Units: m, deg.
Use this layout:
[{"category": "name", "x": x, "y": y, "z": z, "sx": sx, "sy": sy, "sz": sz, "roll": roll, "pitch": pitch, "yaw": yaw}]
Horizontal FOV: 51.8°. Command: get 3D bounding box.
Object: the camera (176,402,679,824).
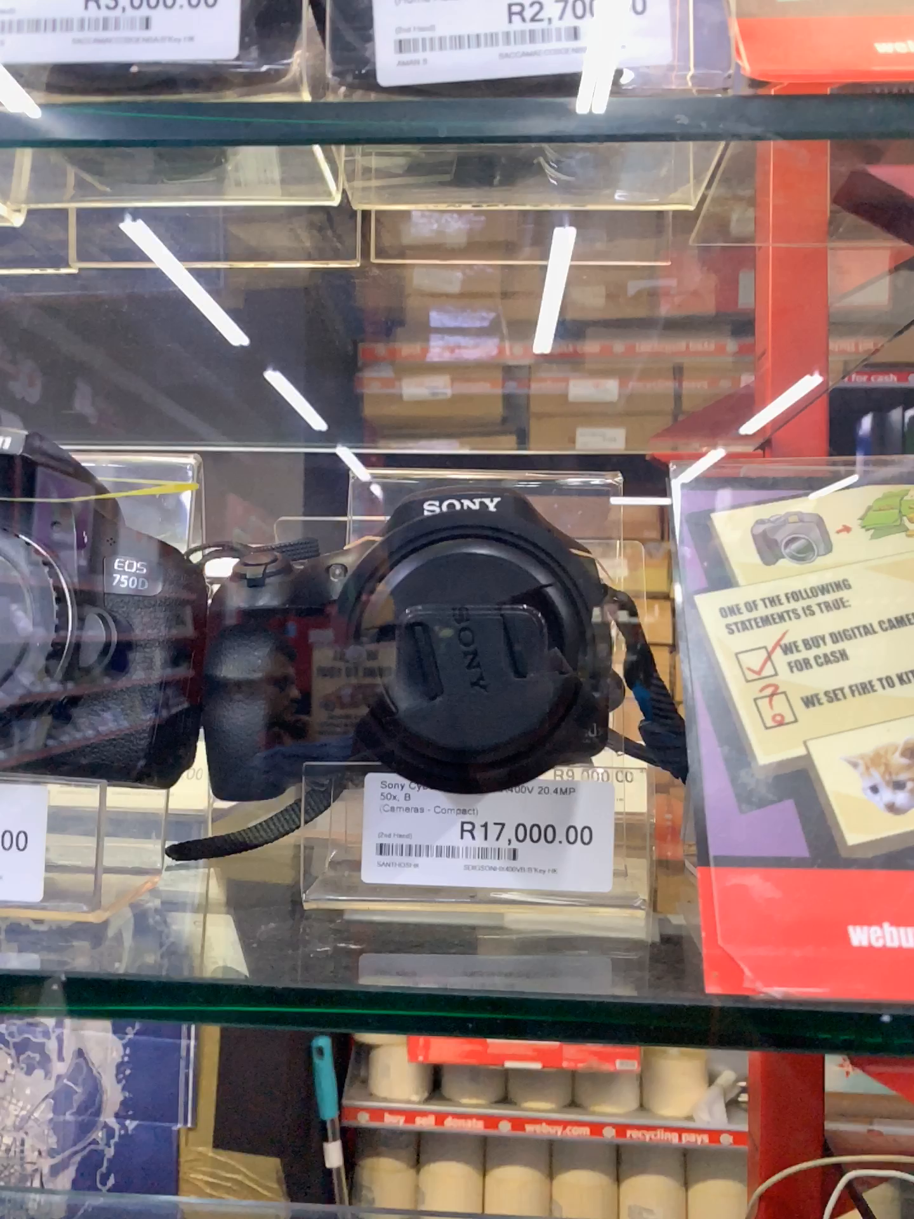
[{"category": "camera", "x": -0.007, "y": 0.002, "z": 0.273, "sx": 0.120, "sy": 0.100, "sz": 0.090, "roll": 1, "pitch": -2, "yaw": -1}]
